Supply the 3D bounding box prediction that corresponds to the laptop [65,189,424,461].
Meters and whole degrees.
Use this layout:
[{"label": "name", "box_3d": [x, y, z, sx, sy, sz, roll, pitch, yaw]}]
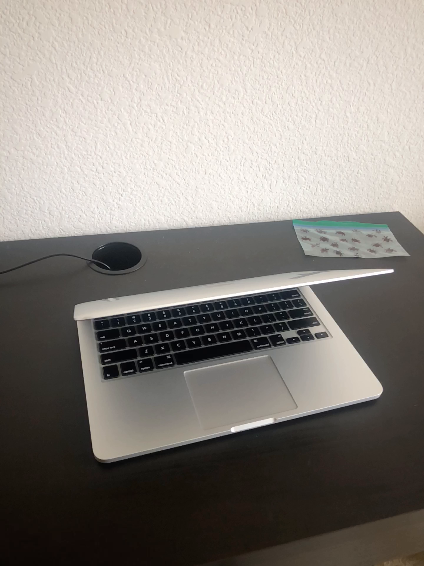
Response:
[{"label": "laptop", "box_3d": [0.015, 0.020, 0.507, 0.309, 0.133, 0.225, -8, 39, -16]}]
